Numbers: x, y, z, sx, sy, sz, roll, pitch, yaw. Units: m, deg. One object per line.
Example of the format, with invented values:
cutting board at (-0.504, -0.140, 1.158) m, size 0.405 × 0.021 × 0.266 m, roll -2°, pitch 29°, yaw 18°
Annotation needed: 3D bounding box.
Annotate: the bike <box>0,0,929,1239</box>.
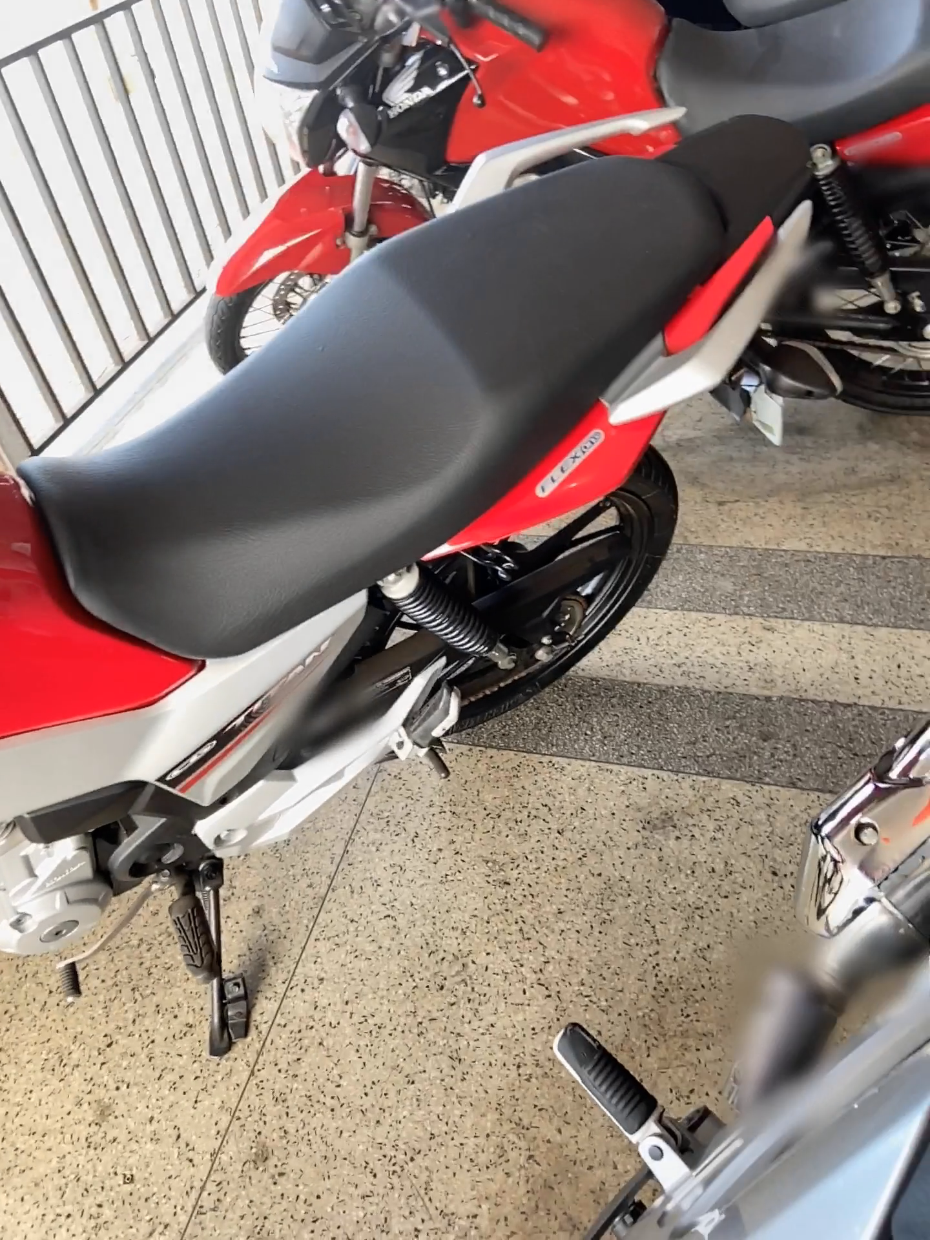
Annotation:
bike at (-0.410, 0.226, 0.984) m, size 1.995 × 1.421 × 0.871 m, roll -34°, pitch 46°, yaw -20°
